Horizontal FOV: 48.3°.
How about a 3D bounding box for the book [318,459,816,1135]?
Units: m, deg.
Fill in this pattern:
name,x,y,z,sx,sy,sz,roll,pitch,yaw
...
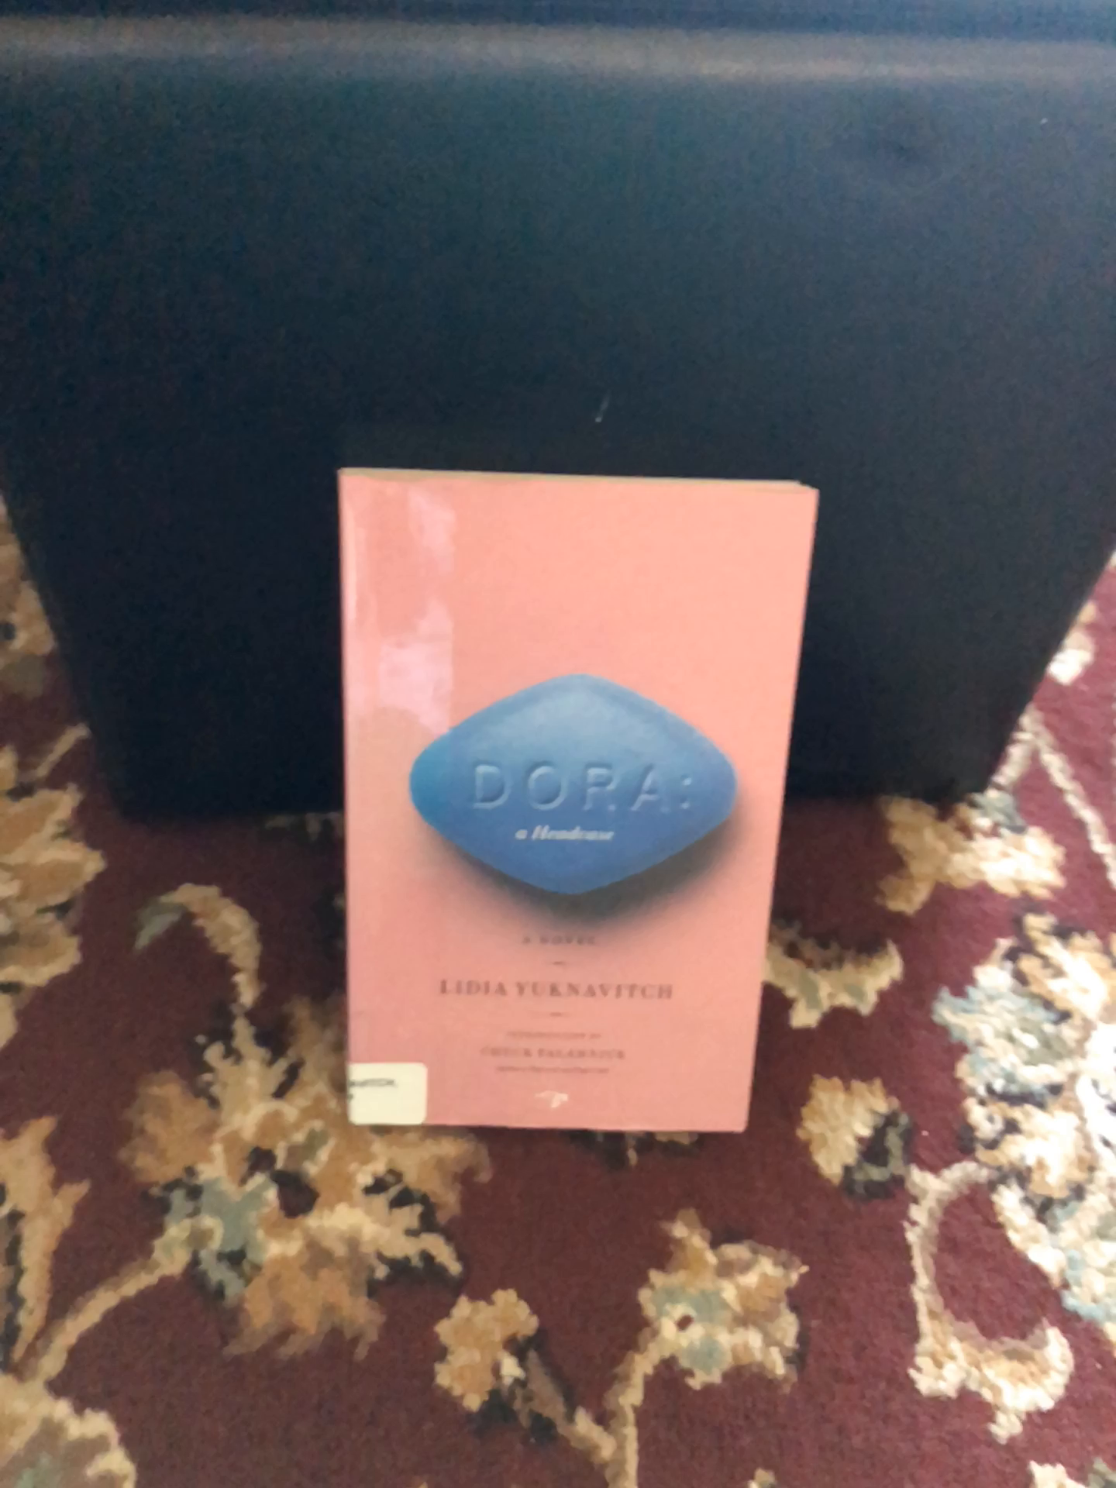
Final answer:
name,x,y,z,sx,sy,sz,roll,pitch,yaw
book,-0.003,0.026,0.424,0.149,0.231,0.030,2,20,-3
